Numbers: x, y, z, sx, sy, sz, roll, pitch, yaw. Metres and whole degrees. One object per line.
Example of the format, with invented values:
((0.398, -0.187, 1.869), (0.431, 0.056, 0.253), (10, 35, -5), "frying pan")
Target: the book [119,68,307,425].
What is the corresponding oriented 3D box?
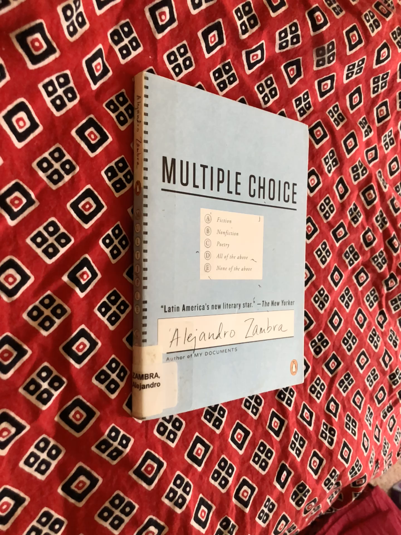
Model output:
((0.015, -0.010, 0.271), (0.134, 0.020, 0.176), (0, 91, -41), "book")
